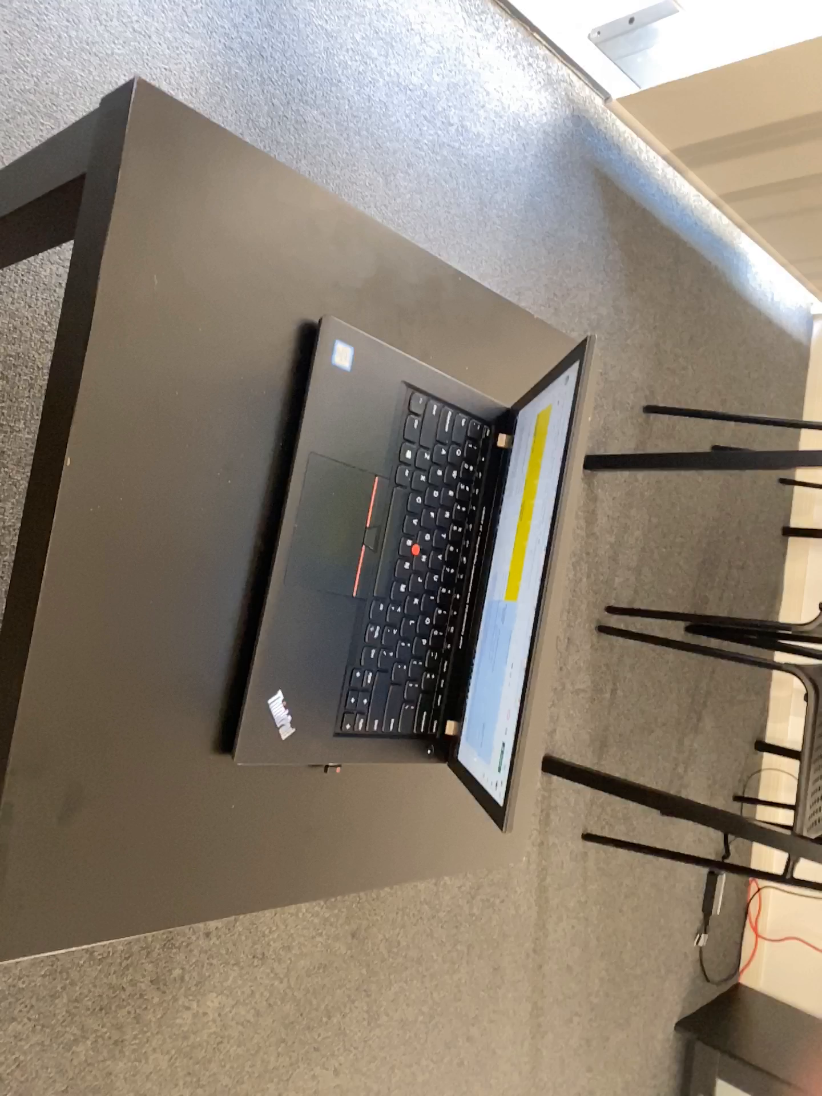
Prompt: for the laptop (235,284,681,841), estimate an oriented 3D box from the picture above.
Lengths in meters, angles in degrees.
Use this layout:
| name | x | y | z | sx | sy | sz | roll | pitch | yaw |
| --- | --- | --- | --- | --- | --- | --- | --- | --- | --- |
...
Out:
| name | x | y | z | sx | sy | sz | roll | pitch | yaw |
| --- | --- | --- | --- | --- | --- | --- | --- | --- | --- |
| laptop | 0.043 | 0.018 | 0.626 | 0.224 | 0.165 | 0.331 | 14 | 85 | -44 |
